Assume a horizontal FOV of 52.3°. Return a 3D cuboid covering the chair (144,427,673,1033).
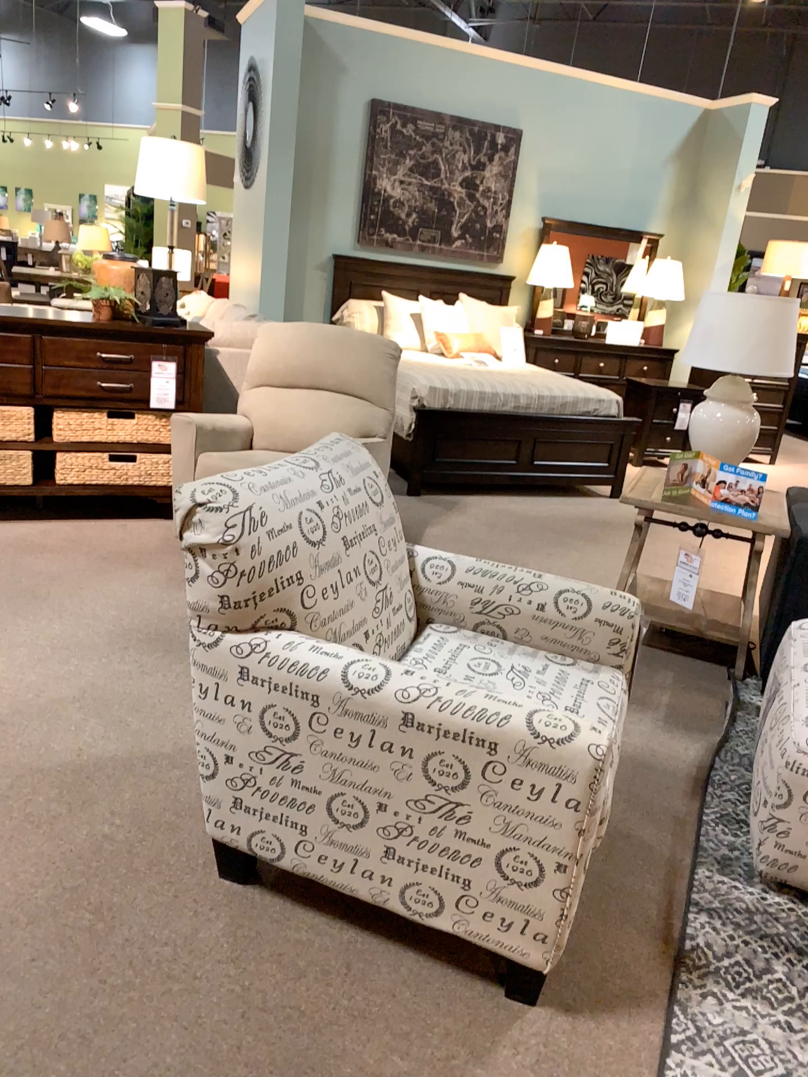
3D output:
[{"bbox_3d":[0.055,0.306,1.904,0.915,0.871,0.837,12,18,15],"label":"chair"}]
